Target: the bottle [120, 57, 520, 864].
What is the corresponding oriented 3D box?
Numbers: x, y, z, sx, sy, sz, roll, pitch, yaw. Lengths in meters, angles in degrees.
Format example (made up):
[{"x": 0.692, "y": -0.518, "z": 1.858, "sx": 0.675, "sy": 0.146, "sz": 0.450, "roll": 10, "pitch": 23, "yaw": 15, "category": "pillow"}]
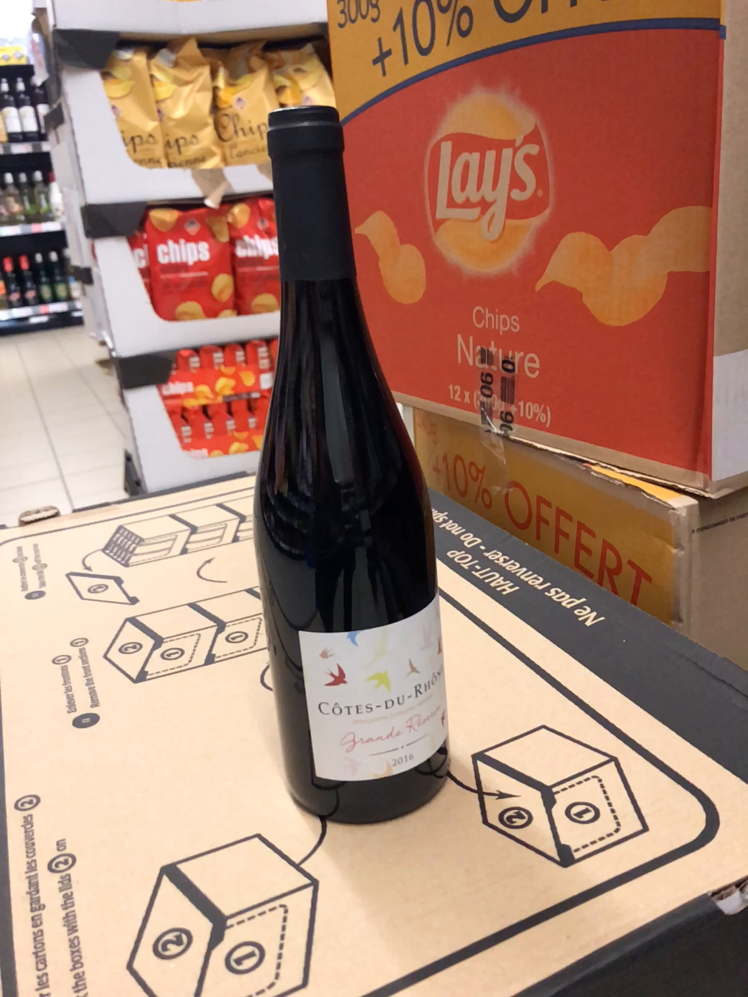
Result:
[{"x": -0.016, "y": -0.014, "z": 0.345, "sx": 0.100, "sy": 0.289, "sz": 0.090, "roll": -16, "pitch": 19, "yaw": -25, "category": "bottle"}]
